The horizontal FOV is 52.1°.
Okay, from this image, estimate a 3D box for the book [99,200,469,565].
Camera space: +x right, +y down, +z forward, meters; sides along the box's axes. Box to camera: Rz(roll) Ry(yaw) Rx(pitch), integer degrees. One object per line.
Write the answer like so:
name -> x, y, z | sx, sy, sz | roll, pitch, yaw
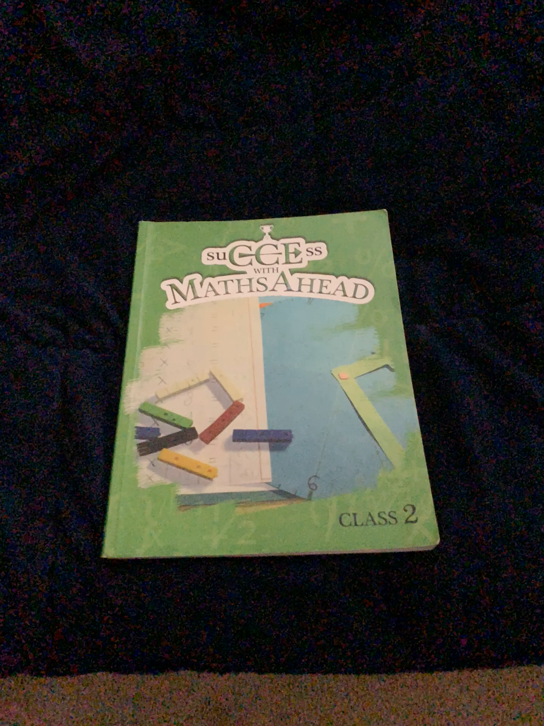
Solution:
book -> 0.004, -0.002, 0.415 | 0.230, 0.020, 0.280 | -2, 65, 1
